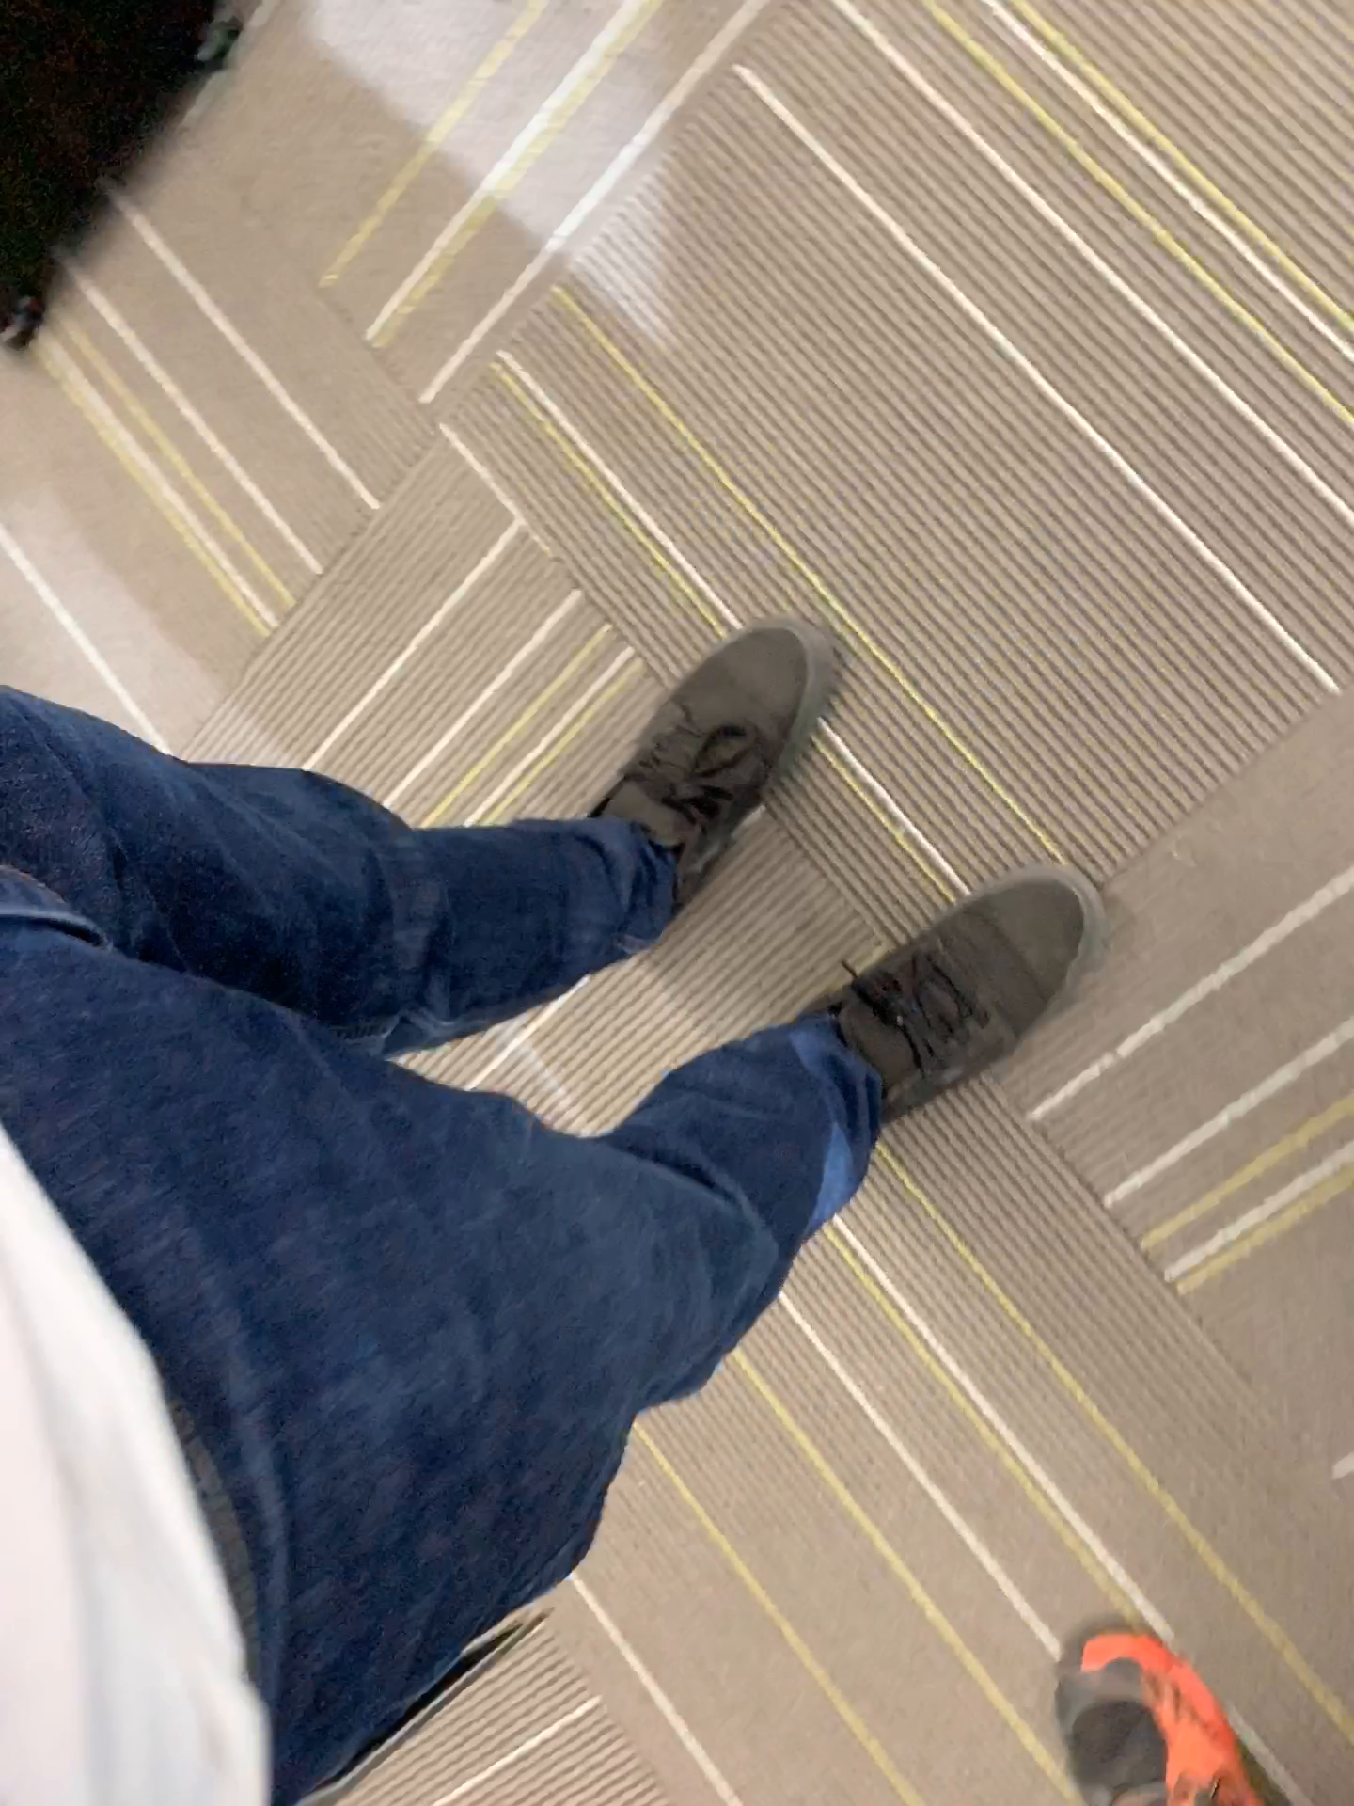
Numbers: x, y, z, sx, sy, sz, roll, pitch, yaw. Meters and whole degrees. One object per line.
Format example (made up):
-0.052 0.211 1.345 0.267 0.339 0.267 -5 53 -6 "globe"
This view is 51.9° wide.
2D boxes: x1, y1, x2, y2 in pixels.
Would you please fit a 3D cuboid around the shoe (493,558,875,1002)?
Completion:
0.004 -0.085 1.005 0.109 0.113 0.292 37 108 15 "shoe"

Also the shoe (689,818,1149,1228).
0.164 0.081 0.953 0.292 0.113 0.109 -42 79 21 "shoe"
